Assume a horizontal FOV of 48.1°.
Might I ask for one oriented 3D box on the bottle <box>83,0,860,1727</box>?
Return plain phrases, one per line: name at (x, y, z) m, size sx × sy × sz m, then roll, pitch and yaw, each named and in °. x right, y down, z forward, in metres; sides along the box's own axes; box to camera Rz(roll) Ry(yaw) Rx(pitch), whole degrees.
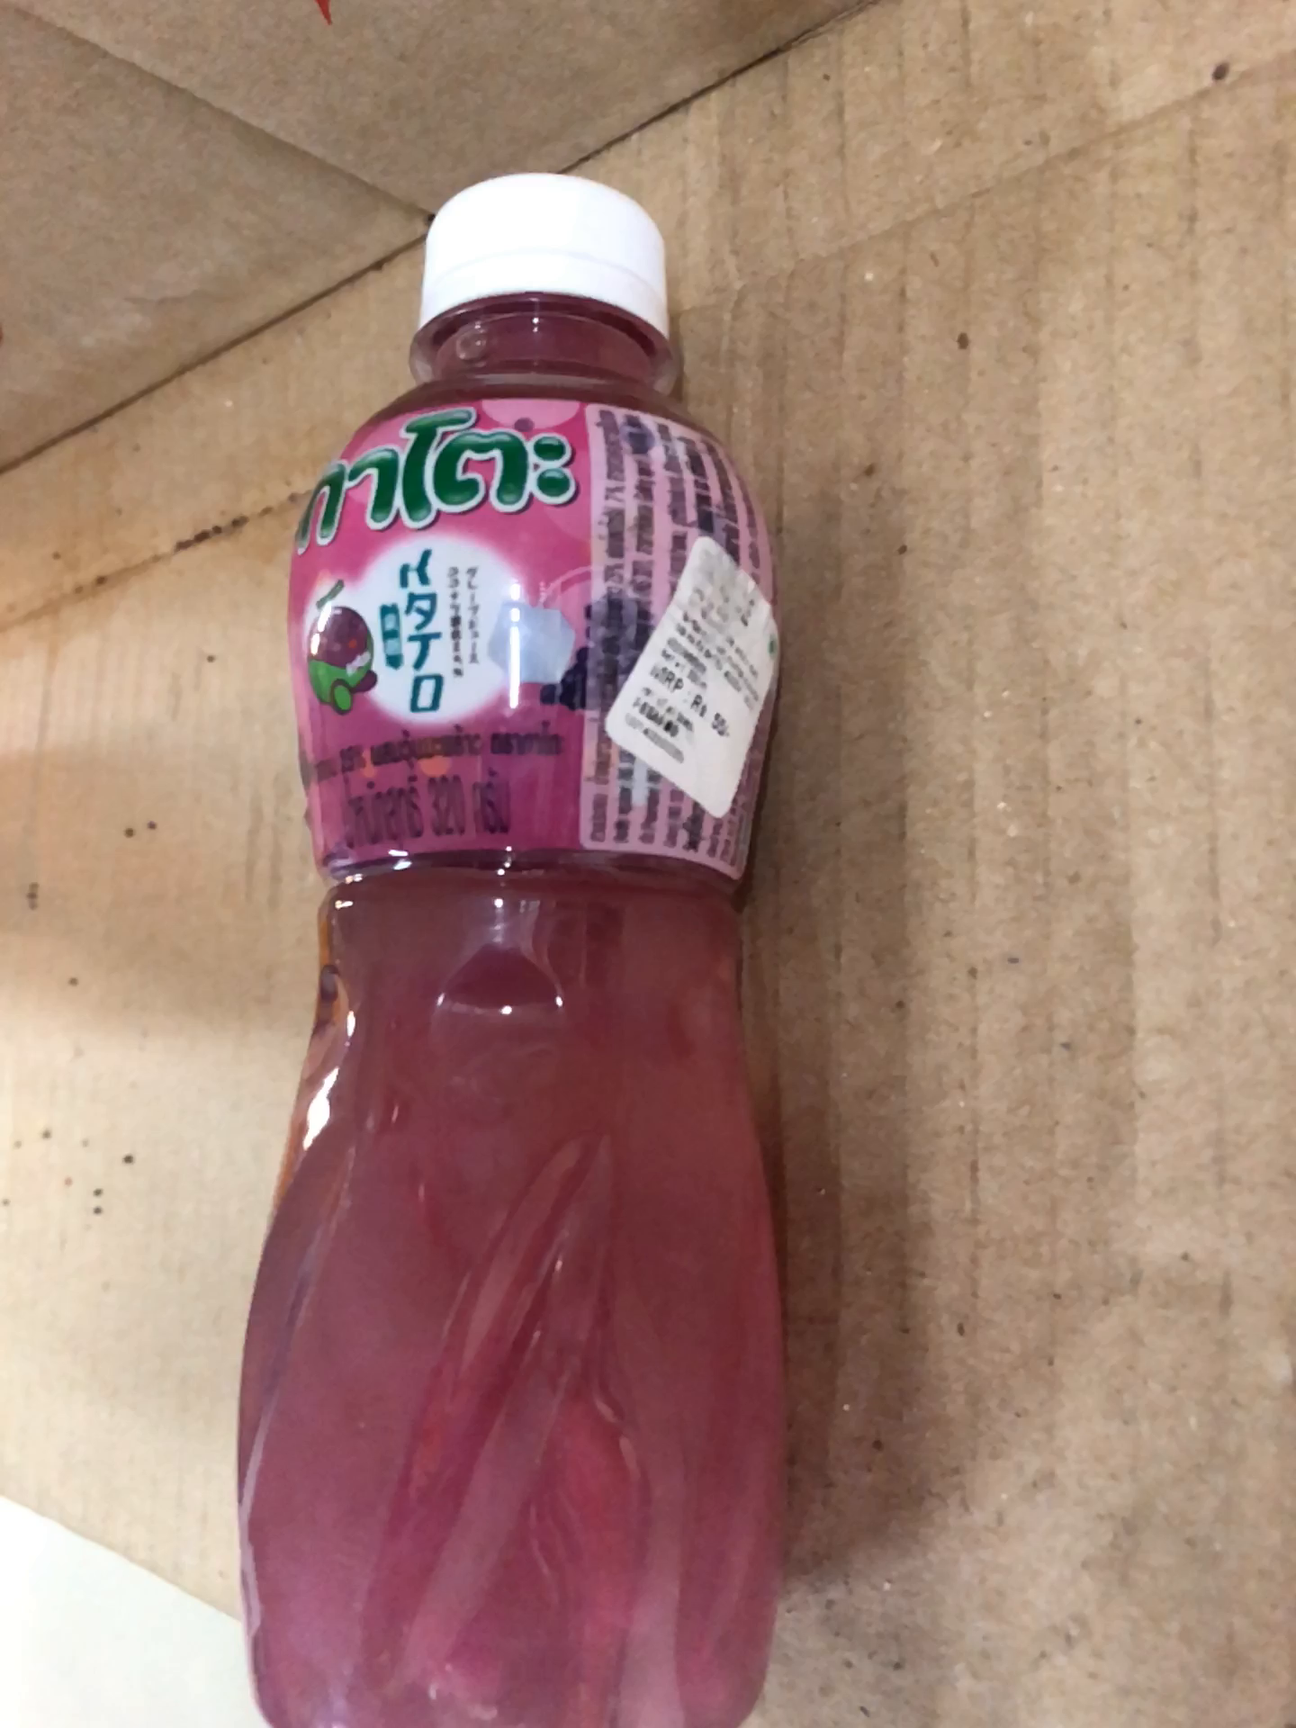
bottle at (-0.016, 0.006, 0.159) m, size 0.060 × 0.050 × 0.170 m, roll -6°, pitch 79°, yaw 35°
